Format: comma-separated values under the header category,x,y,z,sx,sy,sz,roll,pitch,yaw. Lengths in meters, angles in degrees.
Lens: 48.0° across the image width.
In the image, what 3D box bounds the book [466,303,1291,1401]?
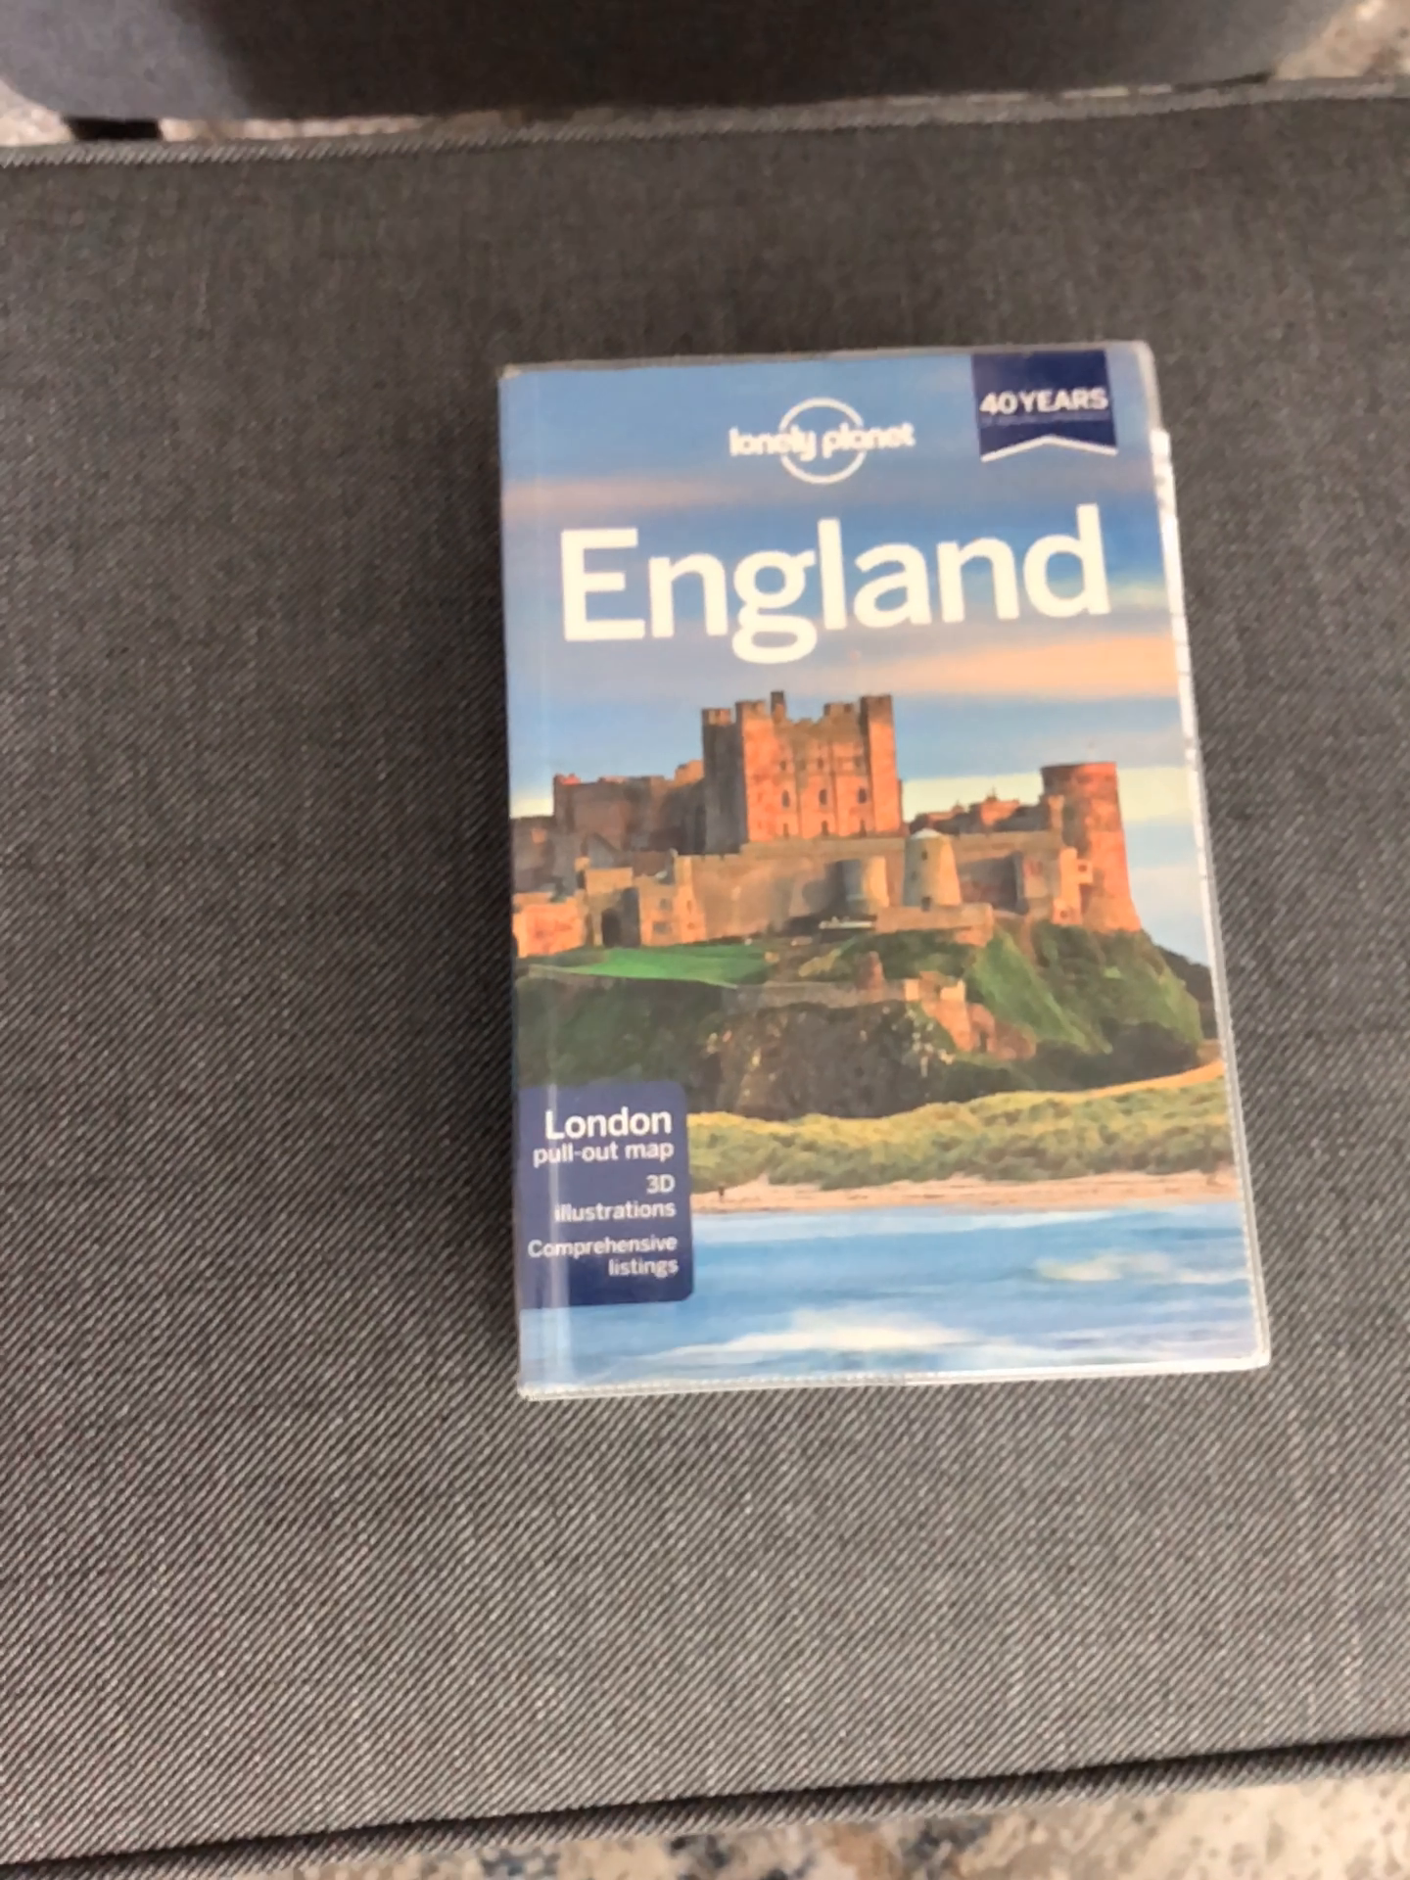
category,x,y,z,sx,sy,sz,roll,pitch,yaw
book,0.027,-0.018,0.303,0.135,0.040,0.200,-2,77,2
